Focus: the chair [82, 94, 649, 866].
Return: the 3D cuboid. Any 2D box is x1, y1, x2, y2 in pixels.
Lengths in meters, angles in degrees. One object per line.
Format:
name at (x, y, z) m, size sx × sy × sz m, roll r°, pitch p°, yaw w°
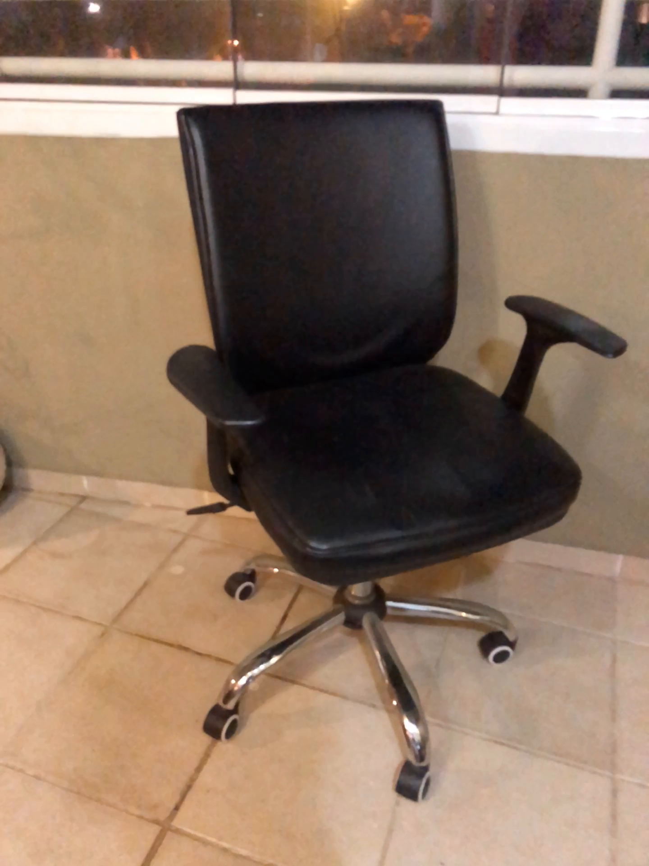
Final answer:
chair at (0.061, 0.004, 1.155) m, size 0.661 × 0.933 × 0.664 m, roll -11°, pitch 31°, yaw -19°
